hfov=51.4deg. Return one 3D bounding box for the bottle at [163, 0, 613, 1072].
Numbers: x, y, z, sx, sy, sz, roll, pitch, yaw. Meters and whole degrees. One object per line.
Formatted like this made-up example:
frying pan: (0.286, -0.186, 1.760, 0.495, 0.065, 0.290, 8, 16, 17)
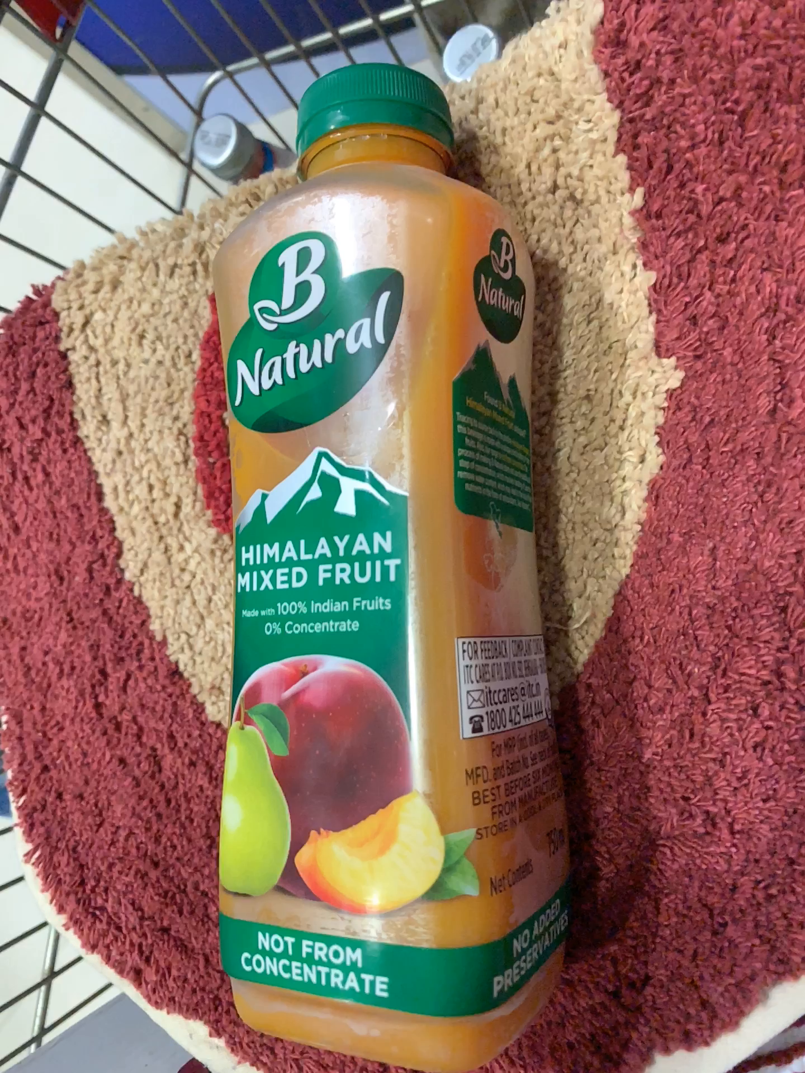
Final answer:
bottle: (0.003, -0.010, 0.196, 0.070, 0.070, 0.230, -4, 79, 27)
